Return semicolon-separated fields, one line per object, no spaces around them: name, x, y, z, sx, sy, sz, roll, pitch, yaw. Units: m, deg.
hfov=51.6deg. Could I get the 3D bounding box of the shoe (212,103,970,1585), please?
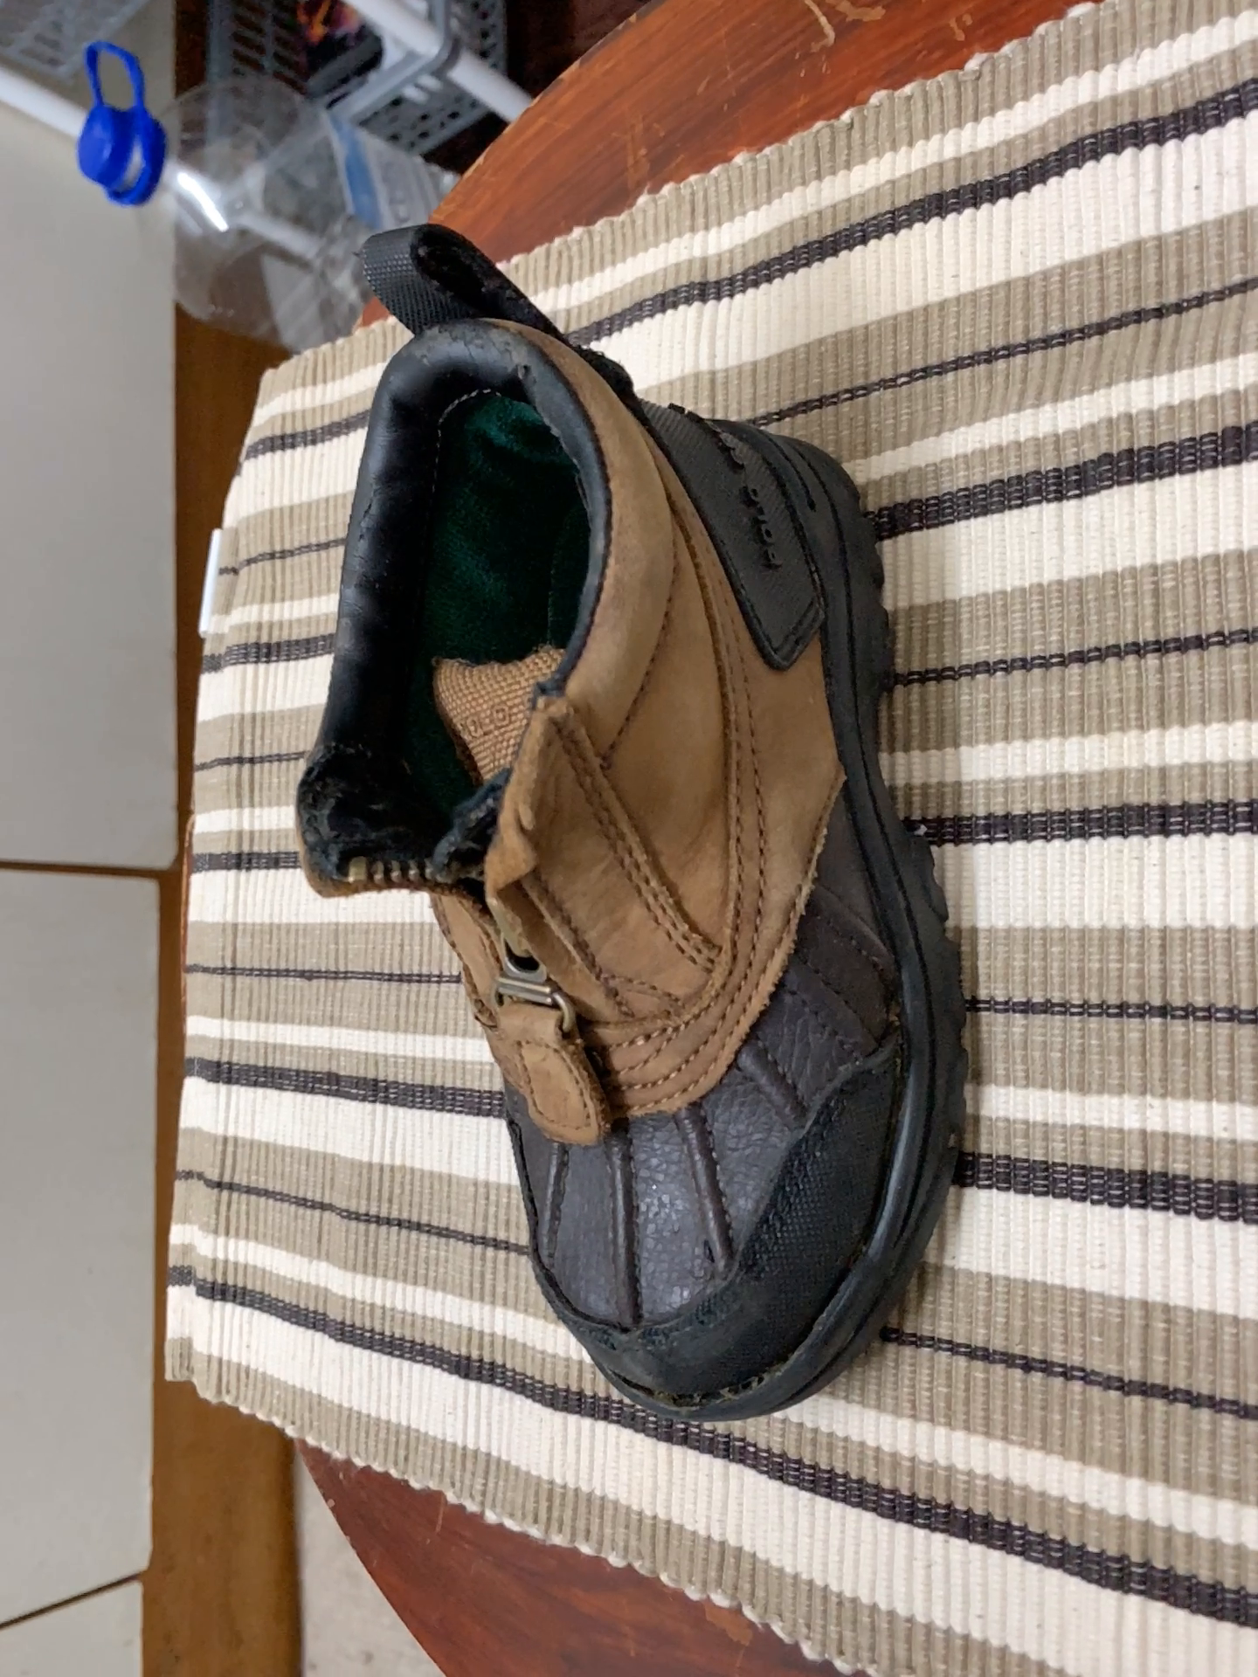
shoe;-0.005;0.001;0.216;0.080;0.089;0.180;-7;81;39
